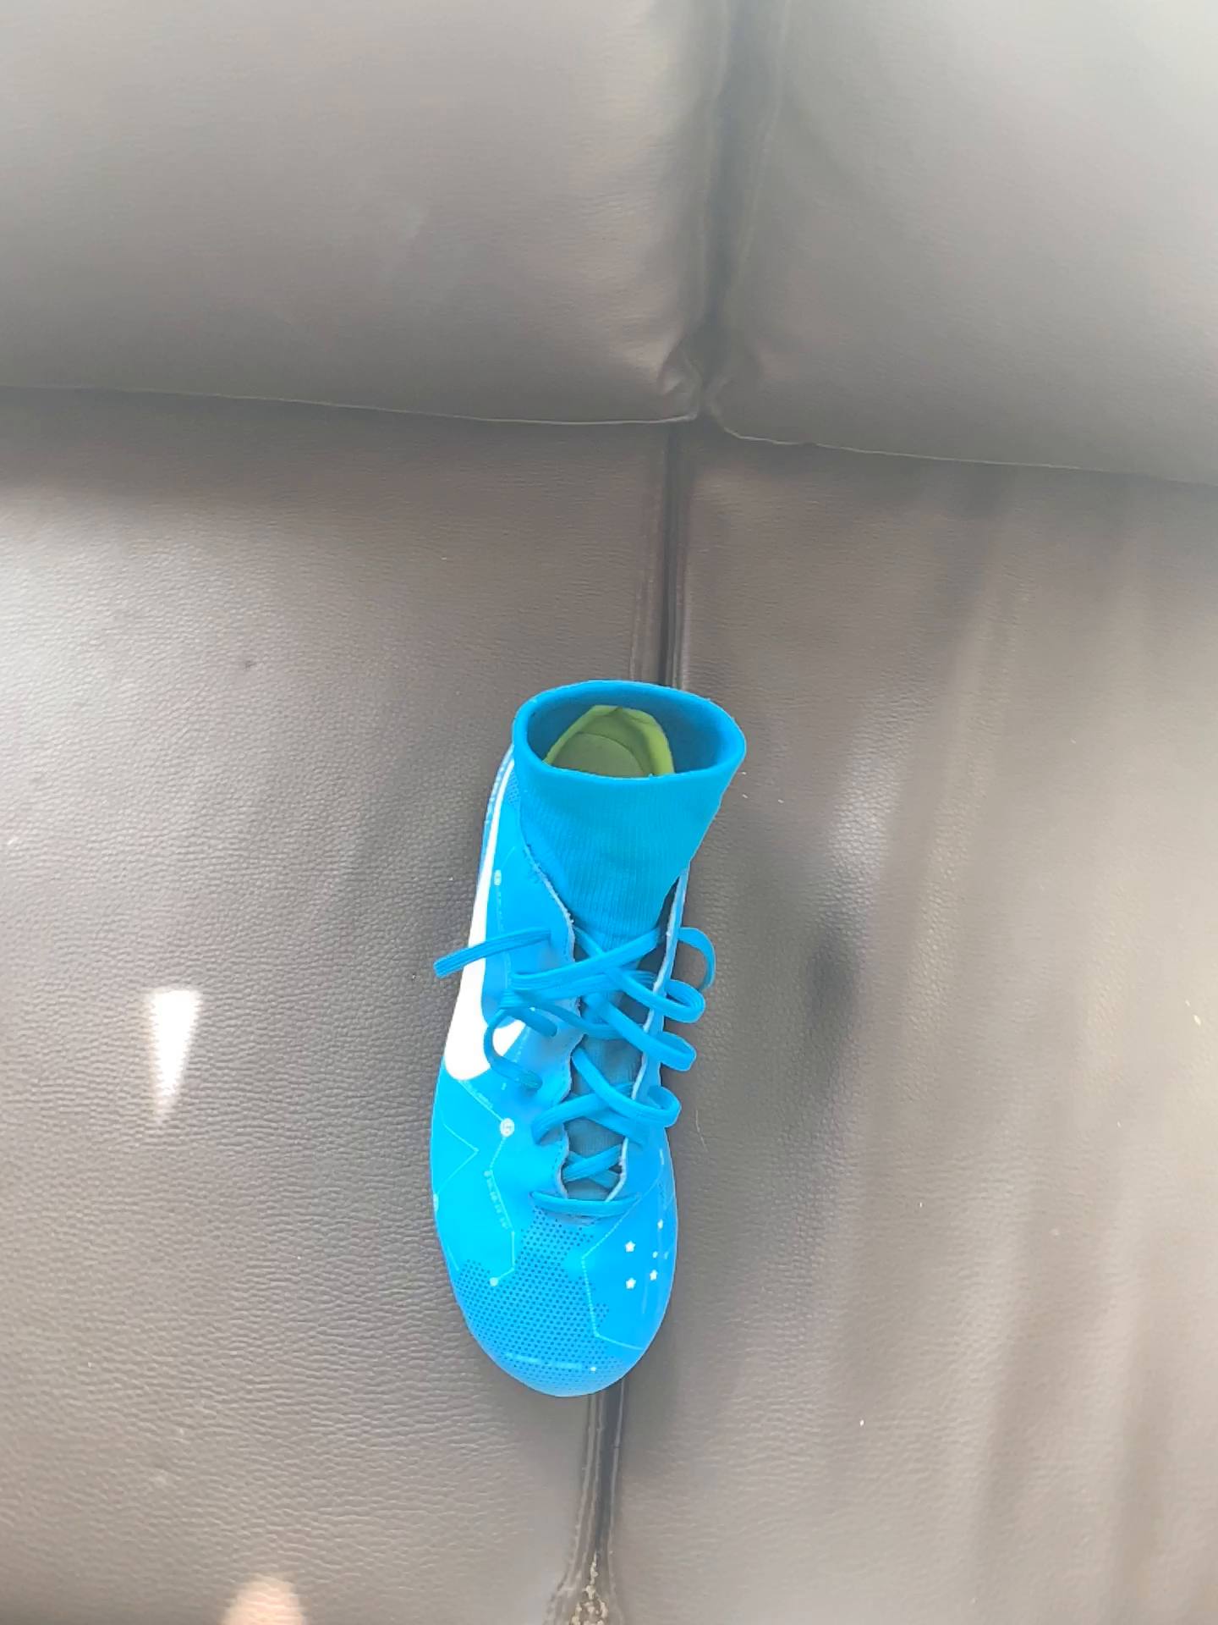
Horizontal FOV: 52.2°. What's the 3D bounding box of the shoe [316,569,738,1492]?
[{"bbox_3d":[-0.018,0.064,0.406,0.098,0.120,0.251,4,73,0],"label":"shoe"}]
